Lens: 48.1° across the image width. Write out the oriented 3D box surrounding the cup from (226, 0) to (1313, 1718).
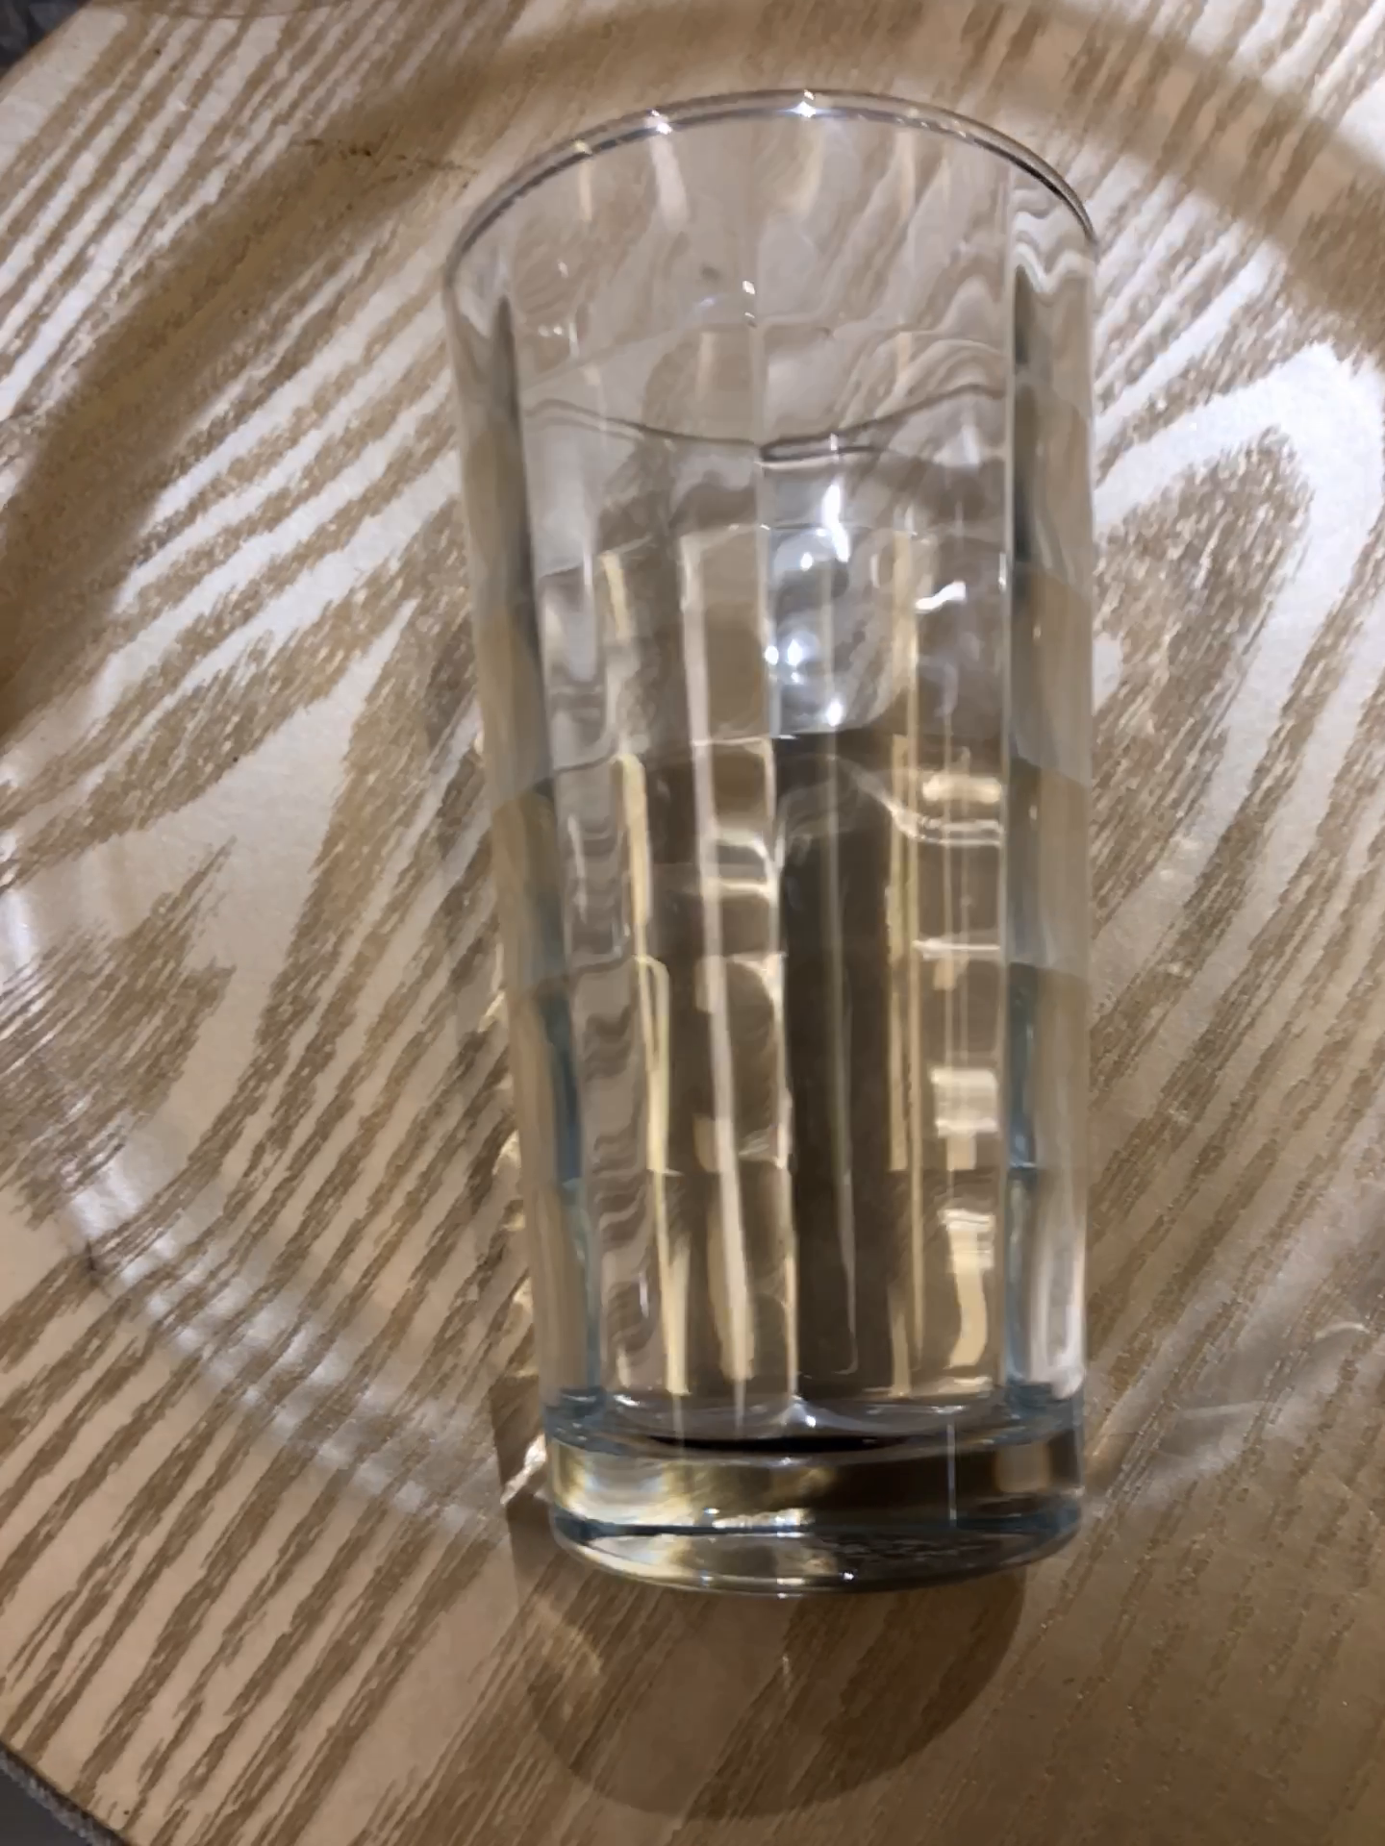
[{"bbox_3d":[0.008,-0.014,0.187,0.090,0.080,0.180,-3,77,8],"label":"cup"}]
